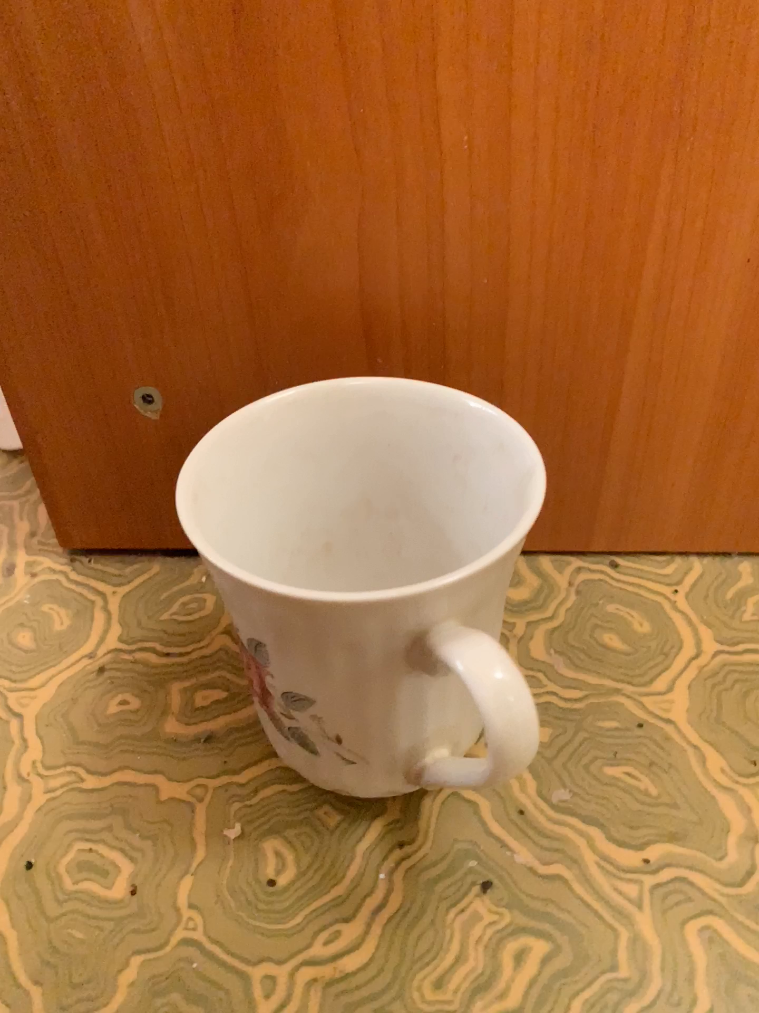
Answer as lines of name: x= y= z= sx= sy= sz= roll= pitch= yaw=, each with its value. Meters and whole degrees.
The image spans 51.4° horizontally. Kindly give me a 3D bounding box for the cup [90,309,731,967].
cup: x=0.003 y=0.021 z=0.203 sx=0.086 sy=0.086 sz=0.119 roll=-29 pitch=45 yaw=-29
